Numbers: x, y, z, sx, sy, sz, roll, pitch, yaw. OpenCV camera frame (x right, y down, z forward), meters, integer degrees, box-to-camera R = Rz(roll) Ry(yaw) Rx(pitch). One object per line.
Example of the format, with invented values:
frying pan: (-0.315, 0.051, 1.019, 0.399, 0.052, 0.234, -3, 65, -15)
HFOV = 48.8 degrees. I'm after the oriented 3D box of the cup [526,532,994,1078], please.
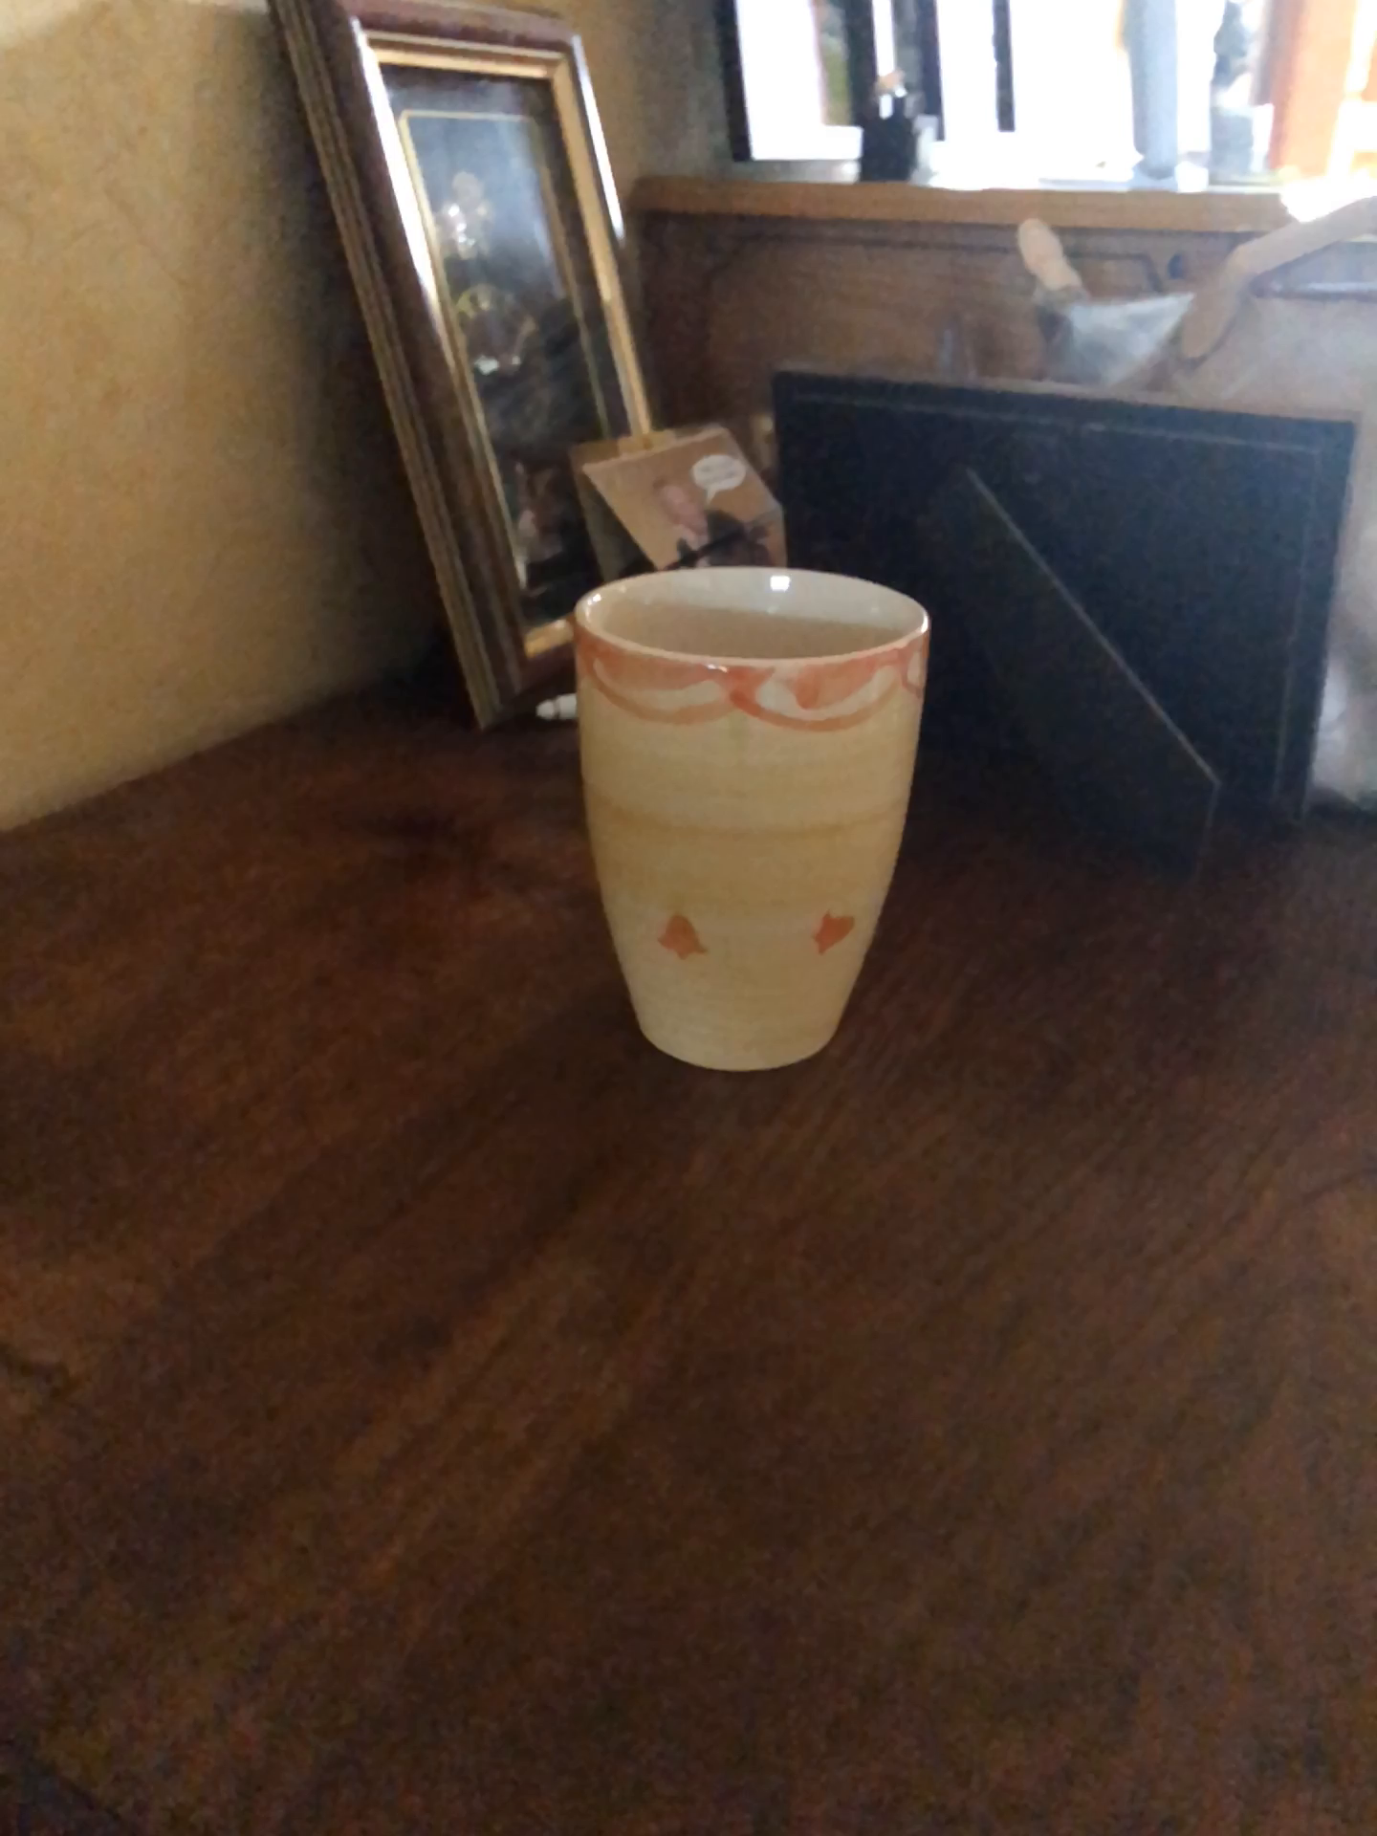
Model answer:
cup: (0.019, -0.036, 0.400, 0.100, 0.099, 0.121, 3, 27, 4)
